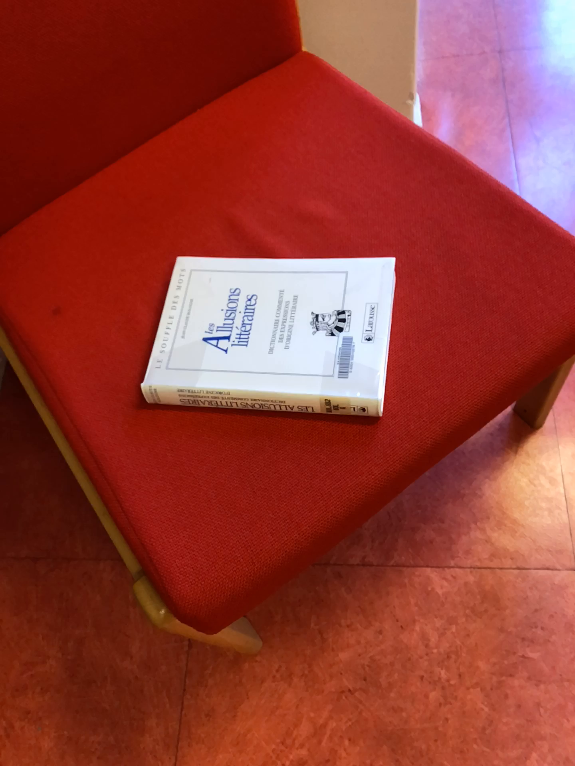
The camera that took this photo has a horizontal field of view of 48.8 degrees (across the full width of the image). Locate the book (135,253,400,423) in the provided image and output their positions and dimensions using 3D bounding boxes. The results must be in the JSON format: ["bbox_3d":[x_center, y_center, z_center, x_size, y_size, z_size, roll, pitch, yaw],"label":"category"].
[{"bbox_3d":[-0.013,-0.046,0.570,0.217,0.030,0.151,3,64,12],"label":"book"}]
